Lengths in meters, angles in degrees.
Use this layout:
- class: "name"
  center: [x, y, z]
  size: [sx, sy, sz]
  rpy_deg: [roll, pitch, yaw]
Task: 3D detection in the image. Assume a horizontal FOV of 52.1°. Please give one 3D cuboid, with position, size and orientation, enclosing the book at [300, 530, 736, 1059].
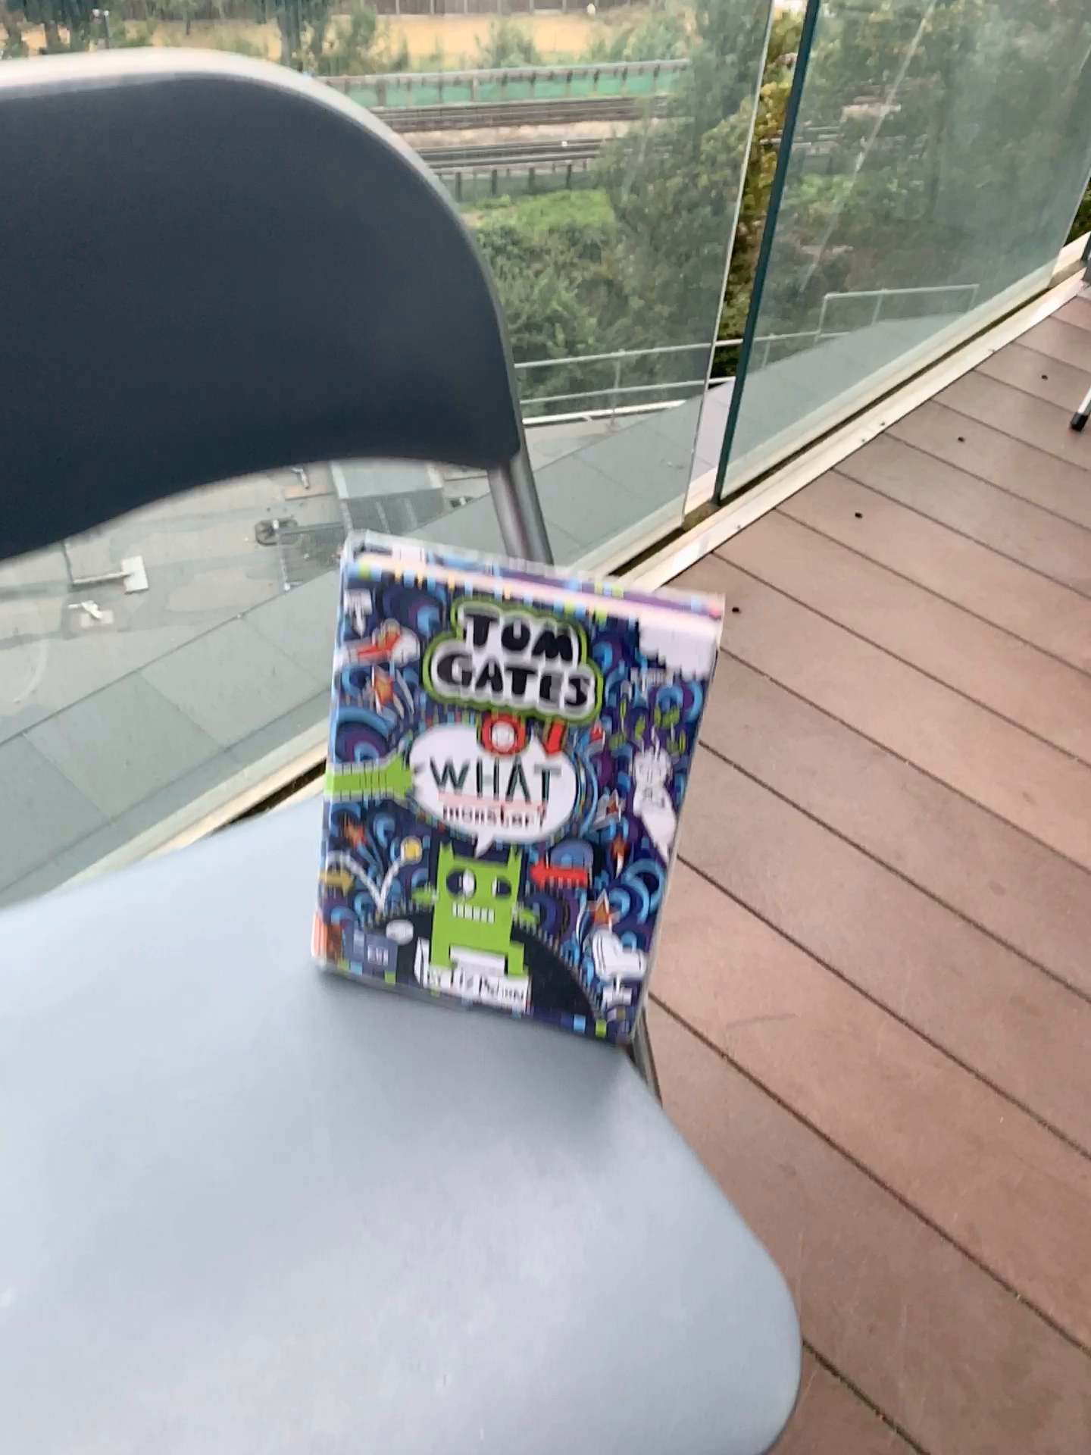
- class: "book"
  center: [-0.018, 0.032, 0.483]
  size: [0.160, 0.198, 0.050]
  rpy_deg: [11, 26, 7]
